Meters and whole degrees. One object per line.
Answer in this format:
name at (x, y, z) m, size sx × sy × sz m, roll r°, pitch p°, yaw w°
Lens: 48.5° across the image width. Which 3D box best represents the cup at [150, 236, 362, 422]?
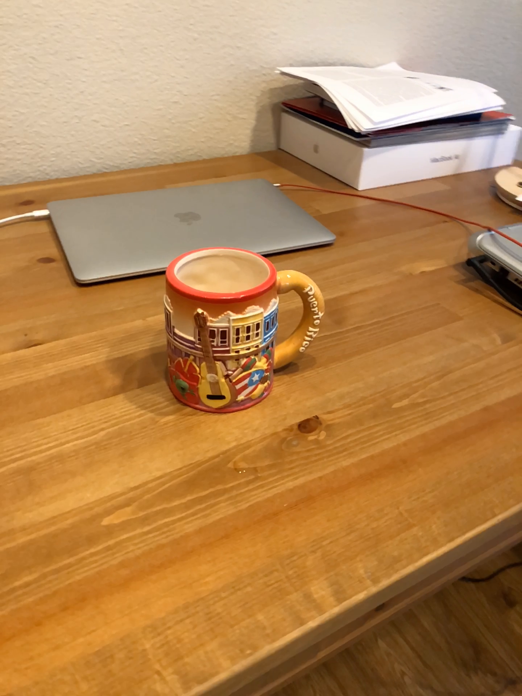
cup at (-0.009, -0.018, 0.430) m, size 0.130 × 0.090 × 0.090 m, roll -7°, pitch 35°, yaw -13°
